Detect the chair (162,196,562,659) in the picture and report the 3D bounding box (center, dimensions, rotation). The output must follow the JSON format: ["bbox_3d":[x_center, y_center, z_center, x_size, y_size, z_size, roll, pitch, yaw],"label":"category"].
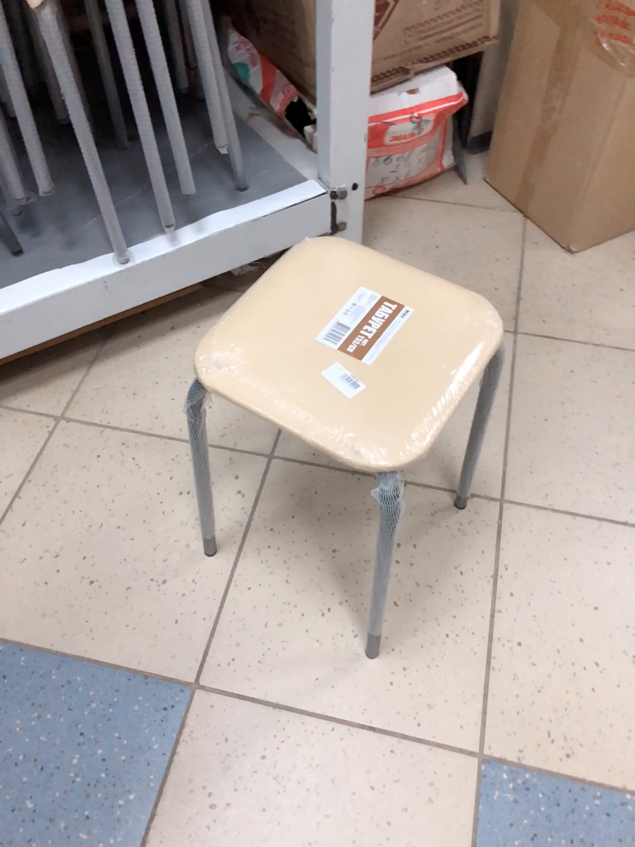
[{"bbox_3d":[0.061,0.016,0.941,0.310,0.437,0.342,28,57,20],"label":"chair"}]
